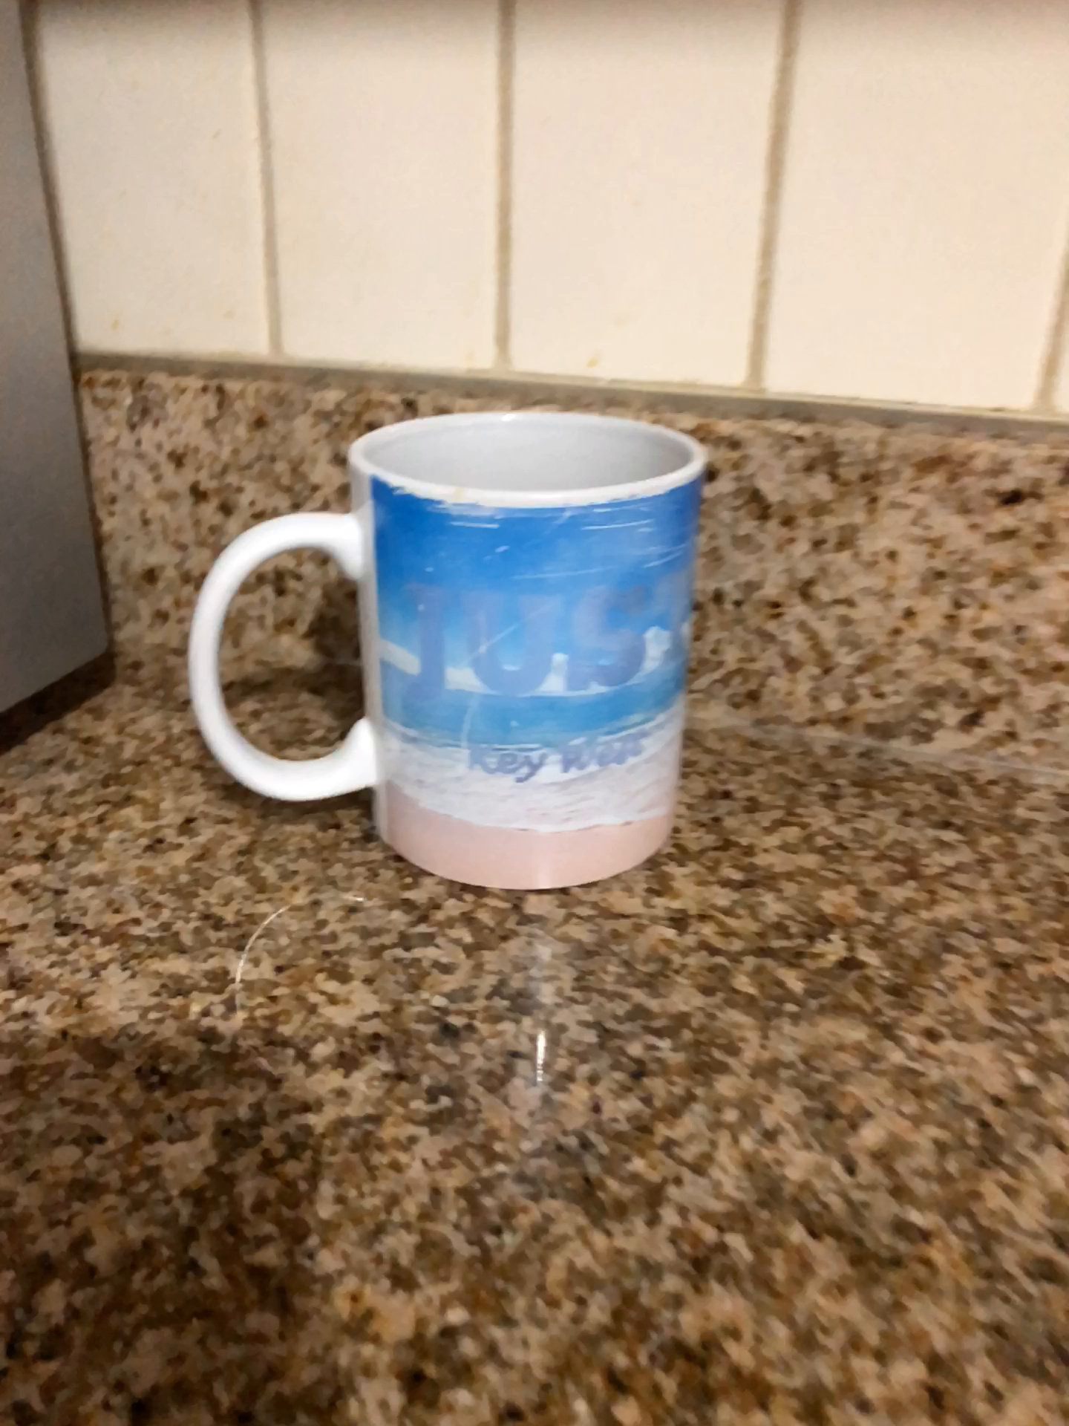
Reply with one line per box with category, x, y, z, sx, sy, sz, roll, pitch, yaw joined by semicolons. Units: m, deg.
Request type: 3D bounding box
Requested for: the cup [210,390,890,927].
cup;-0.004;-0.021;0.281;0.130;0.090;0.090;-5;25;-15
